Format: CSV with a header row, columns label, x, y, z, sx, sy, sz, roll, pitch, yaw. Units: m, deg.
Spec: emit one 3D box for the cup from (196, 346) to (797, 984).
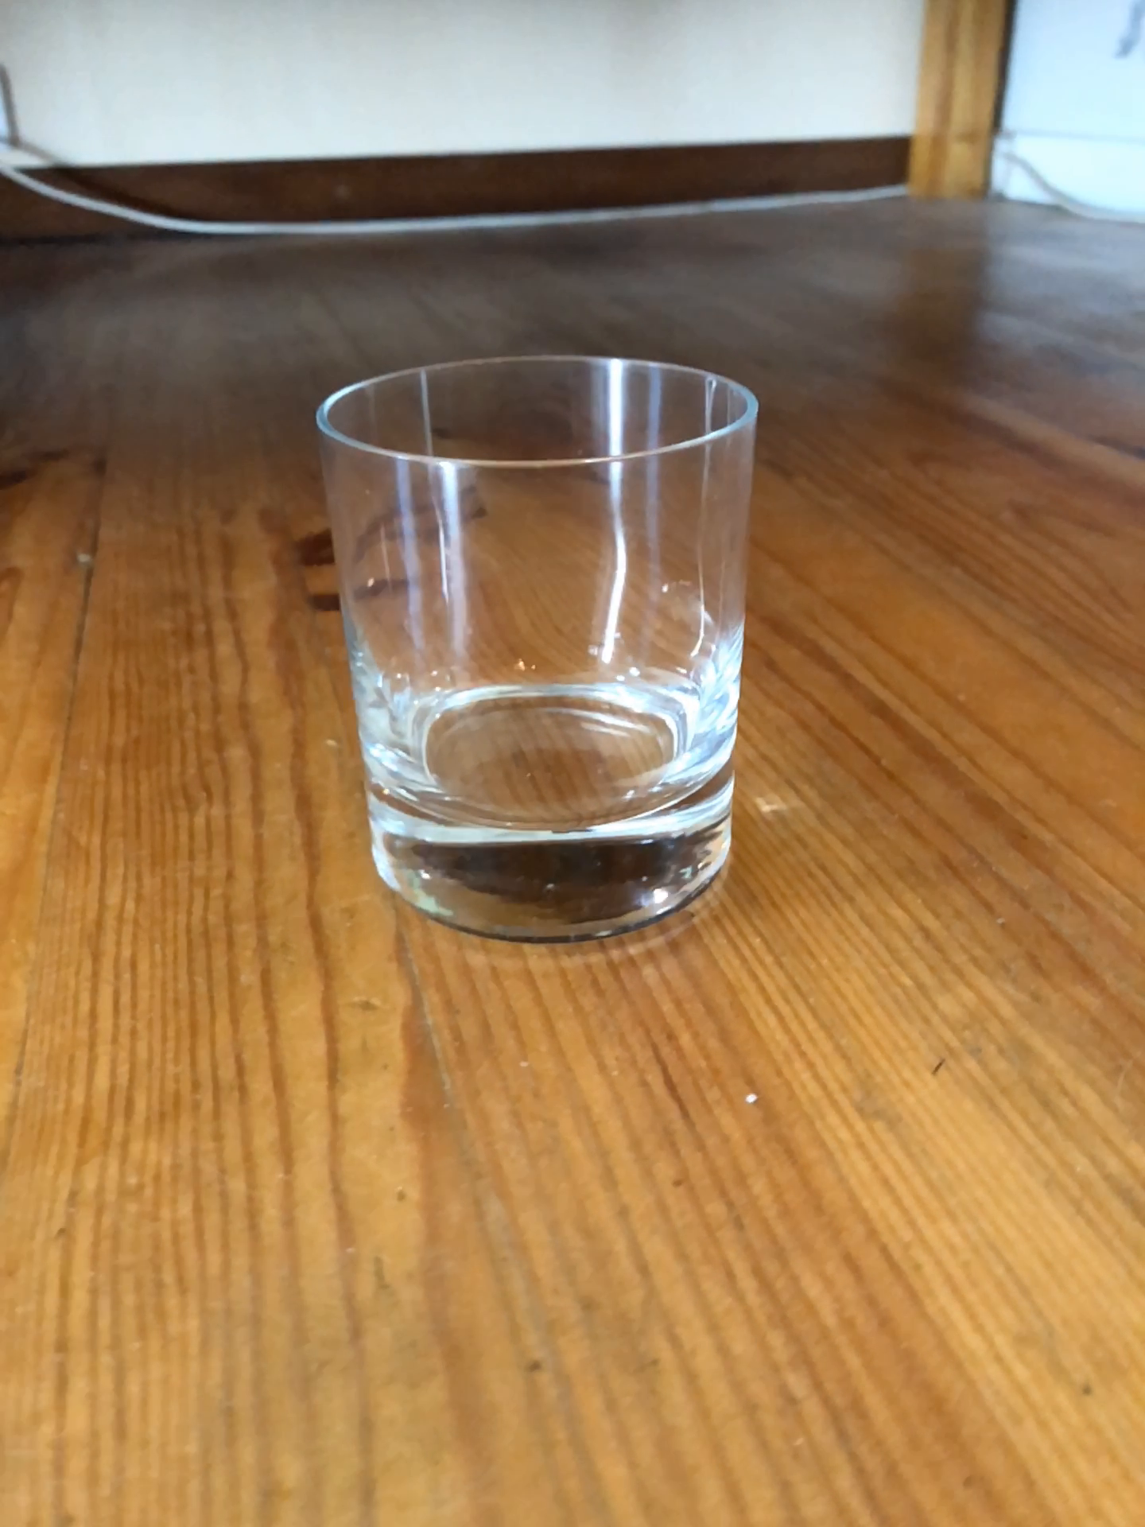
label,x,y,z,sx,sy,sz,roll,pitch,yaw
cup,-0.007,-0.026,0.252,0.082,0.090,0.087,-1,28,0
